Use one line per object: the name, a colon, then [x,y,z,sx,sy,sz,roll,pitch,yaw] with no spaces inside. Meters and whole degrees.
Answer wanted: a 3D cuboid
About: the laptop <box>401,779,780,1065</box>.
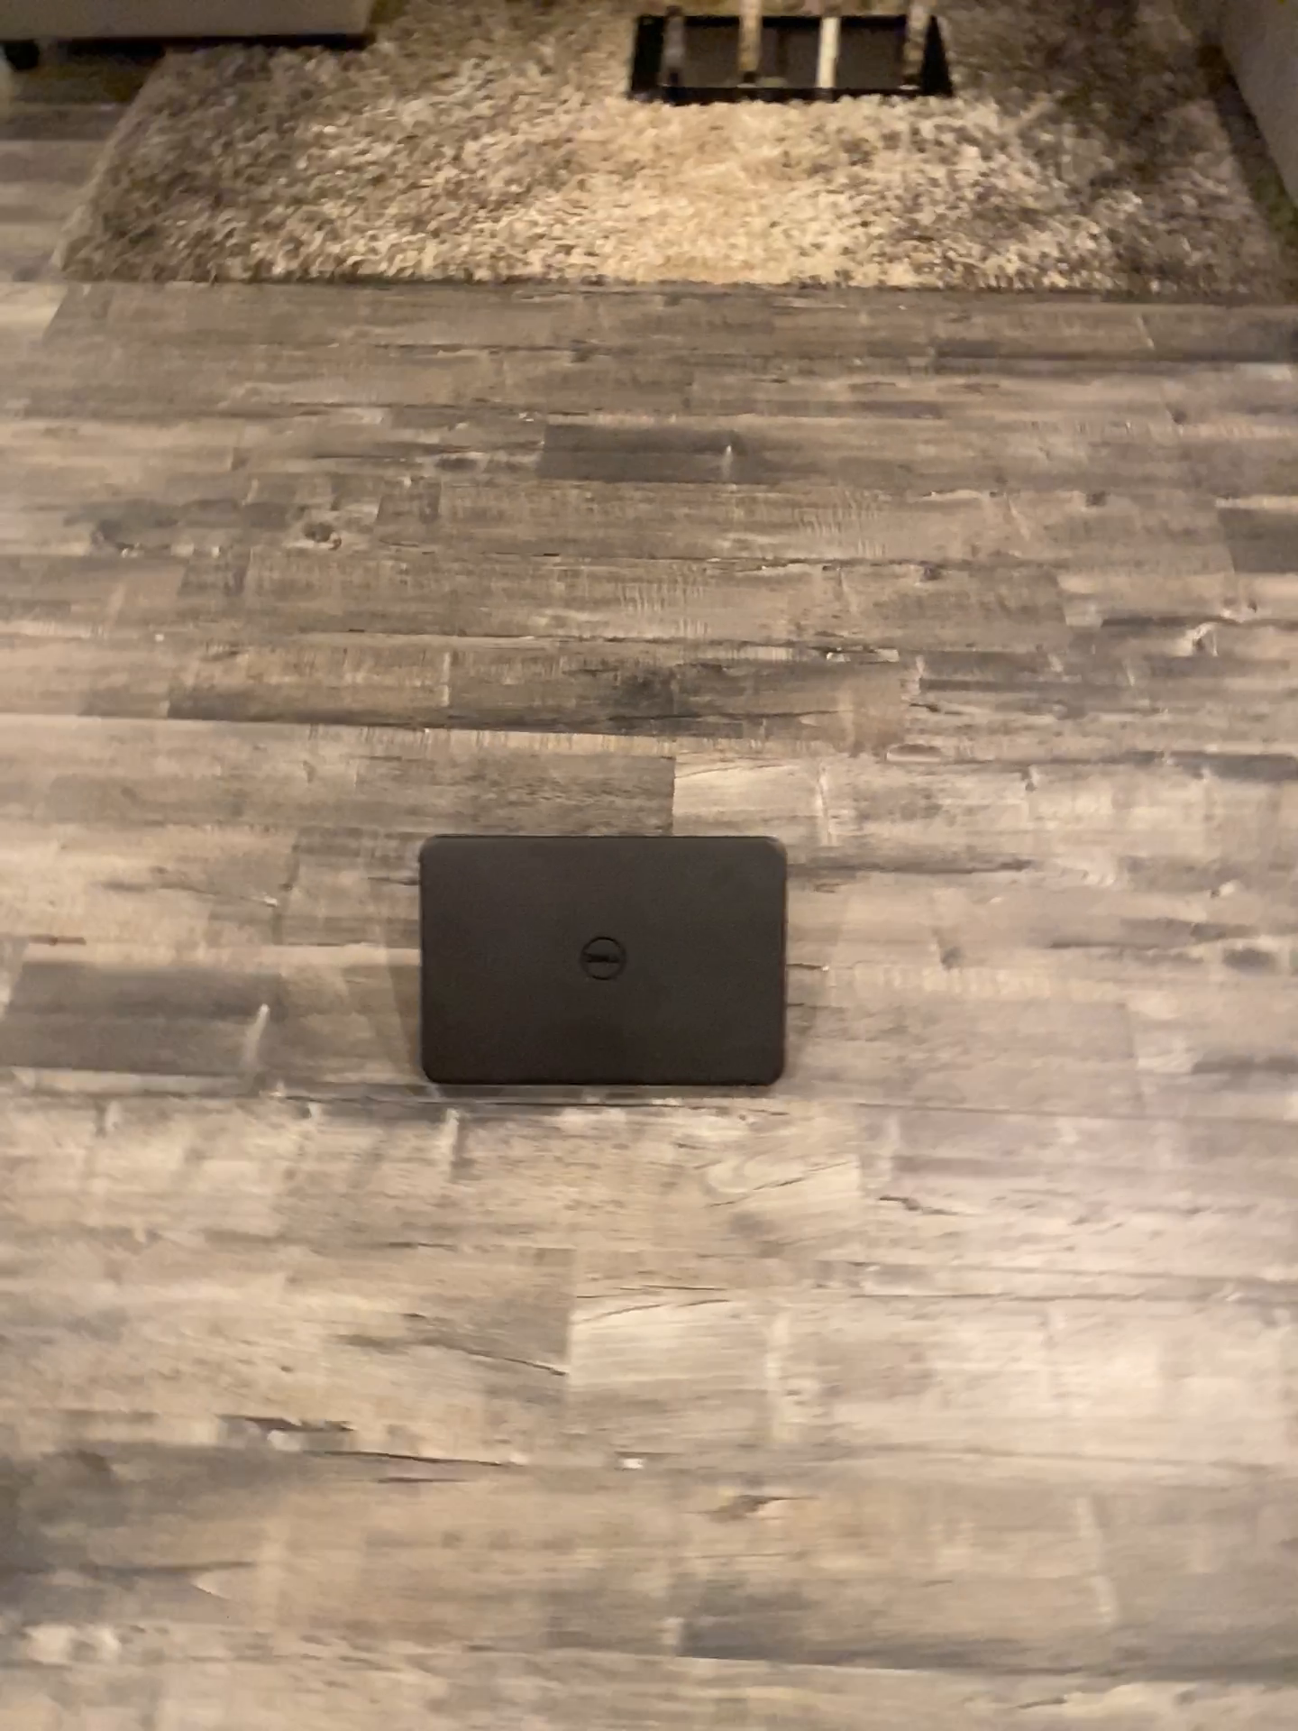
laptop: [-0.056,0.058,1.358,0.352,0.170,0.231,0,56,1]
